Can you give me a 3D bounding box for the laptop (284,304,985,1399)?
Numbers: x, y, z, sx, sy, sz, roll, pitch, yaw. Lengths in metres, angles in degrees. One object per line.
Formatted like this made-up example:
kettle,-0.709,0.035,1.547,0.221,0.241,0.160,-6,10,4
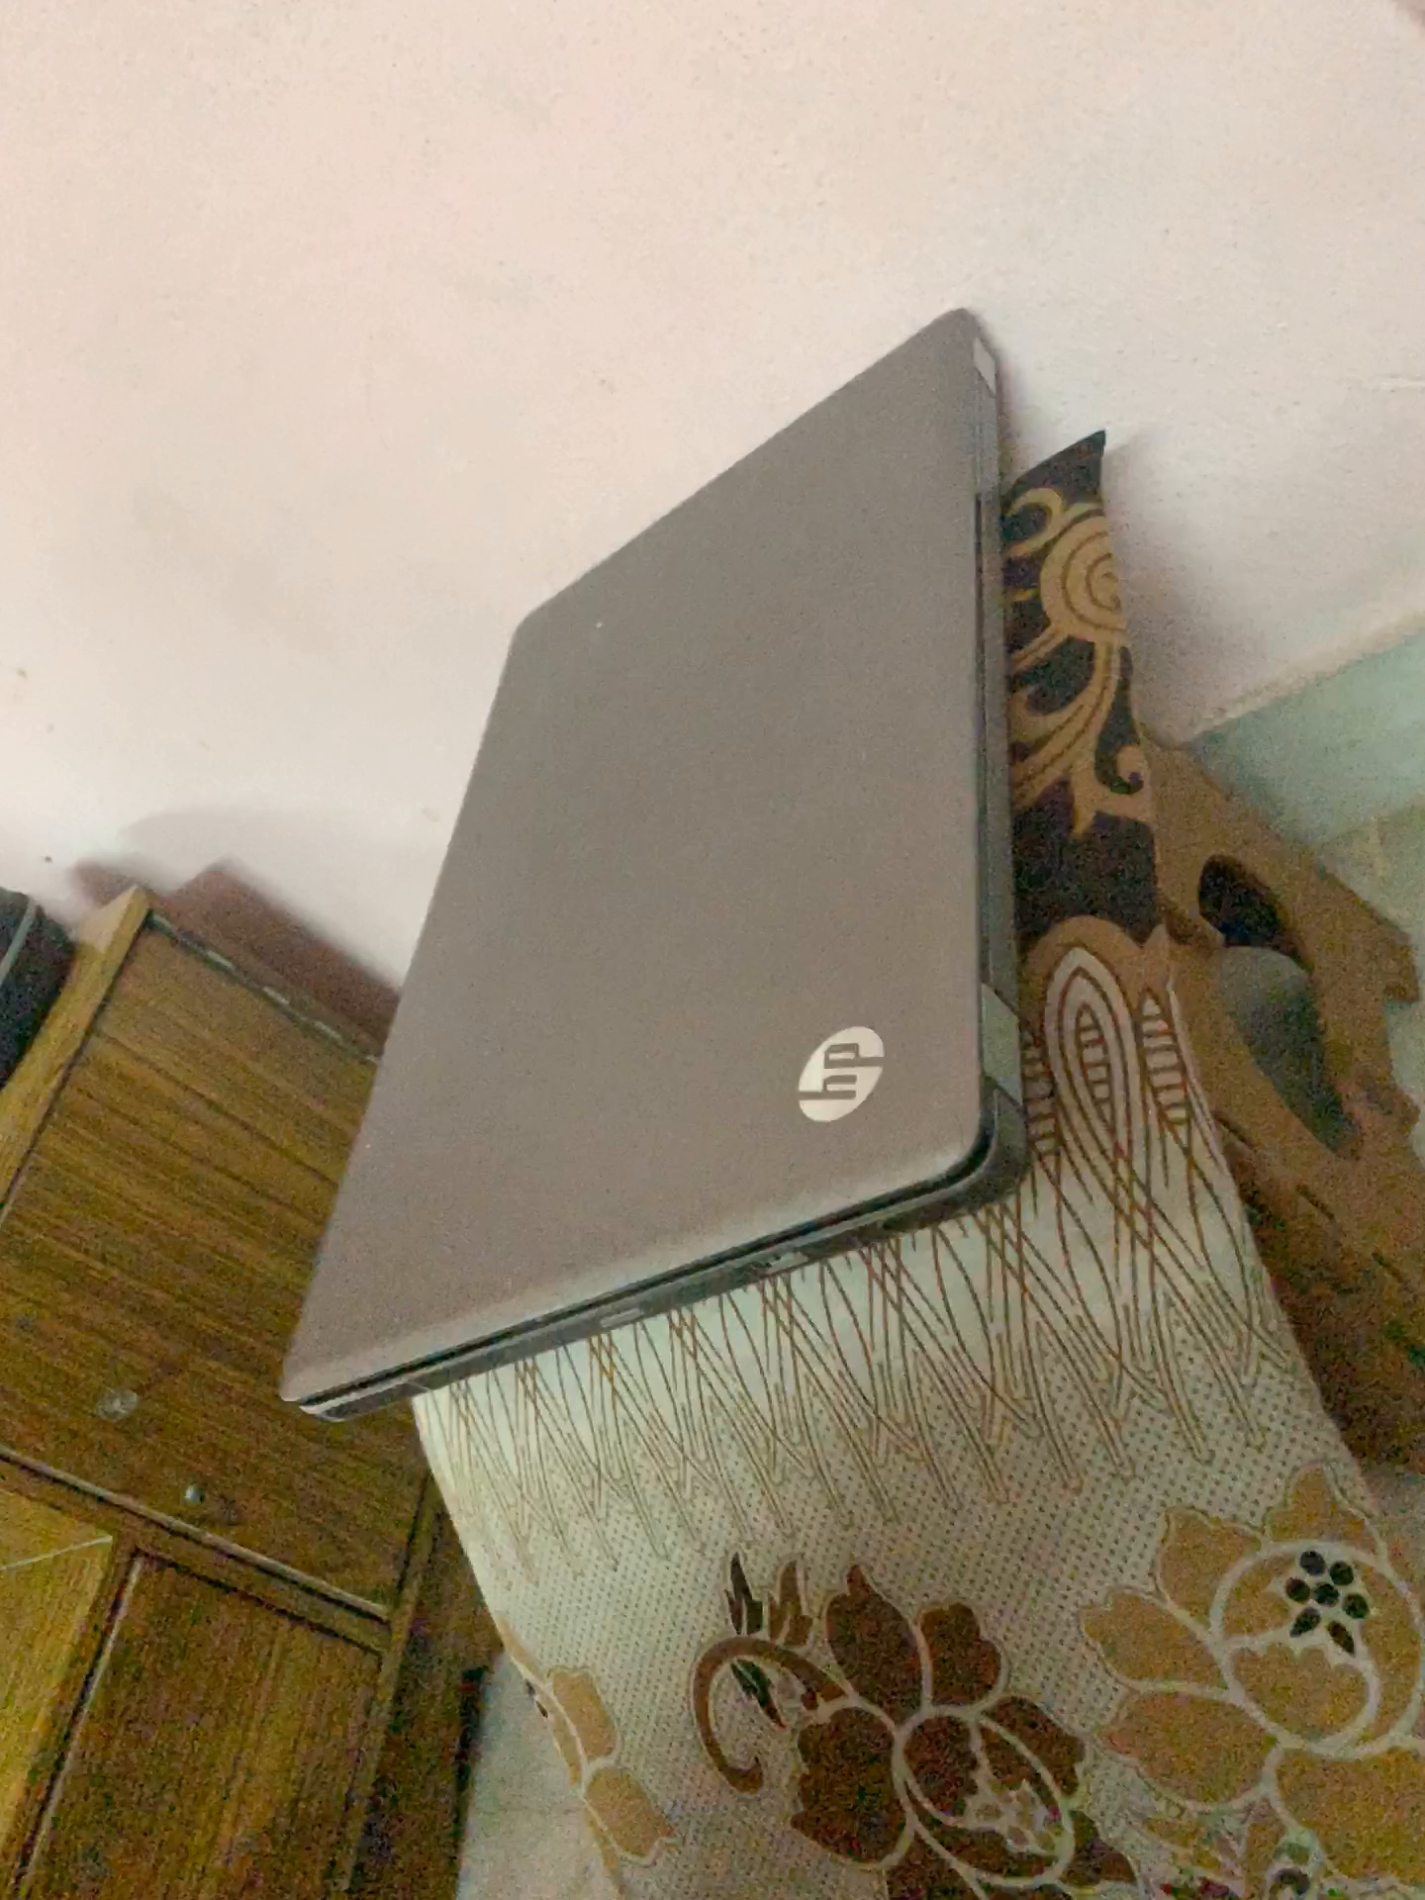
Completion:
laptop,-0.018,-0.053,0.500,0.250,0.002,0.380,-26,40,33
